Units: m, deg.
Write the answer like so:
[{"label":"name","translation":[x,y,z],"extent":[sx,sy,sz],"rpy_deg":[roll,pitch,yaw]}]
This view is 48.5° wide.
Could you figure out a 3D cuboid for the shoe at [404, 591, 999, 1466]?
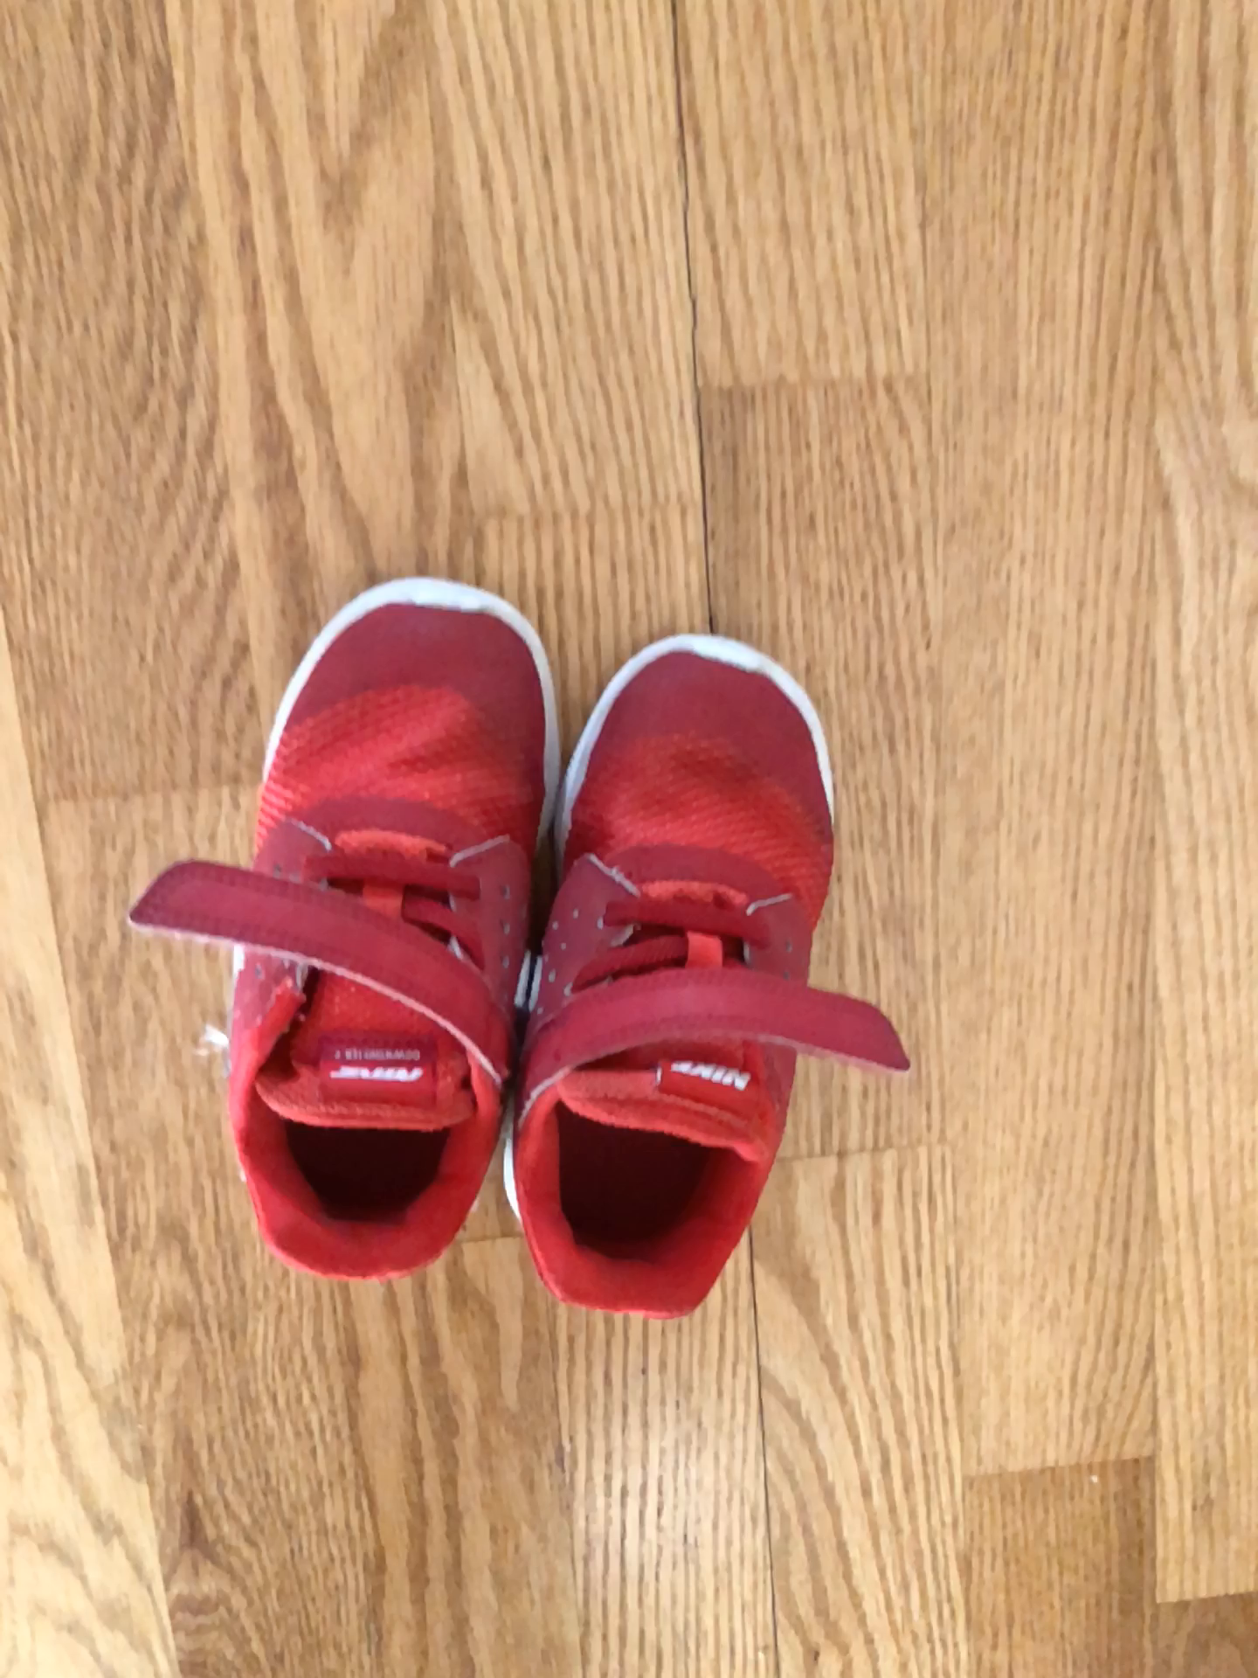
[{"label":"shoe","translation":[0.010,0.040,0.326],"extent":[0.088,0.069,0.177],"rpy_deg":[11,100,-7]}]

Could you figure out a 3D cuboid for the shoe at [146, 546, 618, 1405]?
[{"label":"shoe","translation":[-0.055,0.028,0.319],"extent":[0.080,0.069,0.175],"rpy_deg":[6,101,-6]}]
